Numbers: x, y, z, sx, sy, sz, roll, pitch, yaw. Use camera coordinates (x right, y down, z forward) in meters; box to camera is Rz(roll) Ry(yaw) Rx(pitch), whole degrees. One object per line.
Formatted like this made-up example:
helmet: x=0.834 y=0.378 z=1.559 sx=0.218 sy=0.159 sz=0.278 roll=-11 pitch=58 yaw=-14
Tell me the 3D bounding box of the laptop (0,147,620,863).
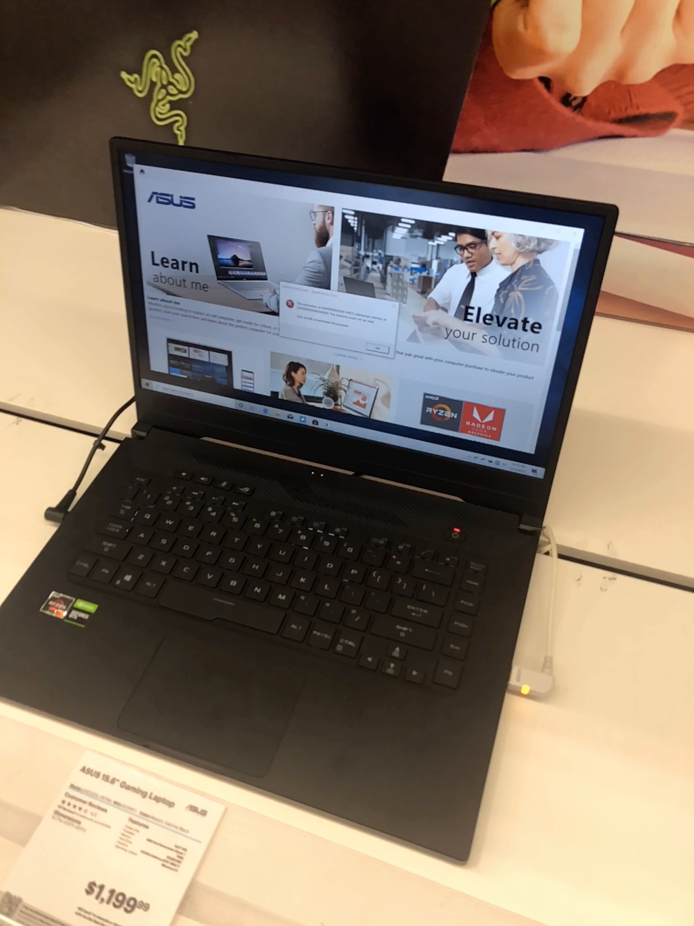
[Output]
laptop: x=-0.052 y=-0.003 z=0.475 sx=0.351 sy=0.222 sz=0.311 roll=13 pitch=49 yaw=15
